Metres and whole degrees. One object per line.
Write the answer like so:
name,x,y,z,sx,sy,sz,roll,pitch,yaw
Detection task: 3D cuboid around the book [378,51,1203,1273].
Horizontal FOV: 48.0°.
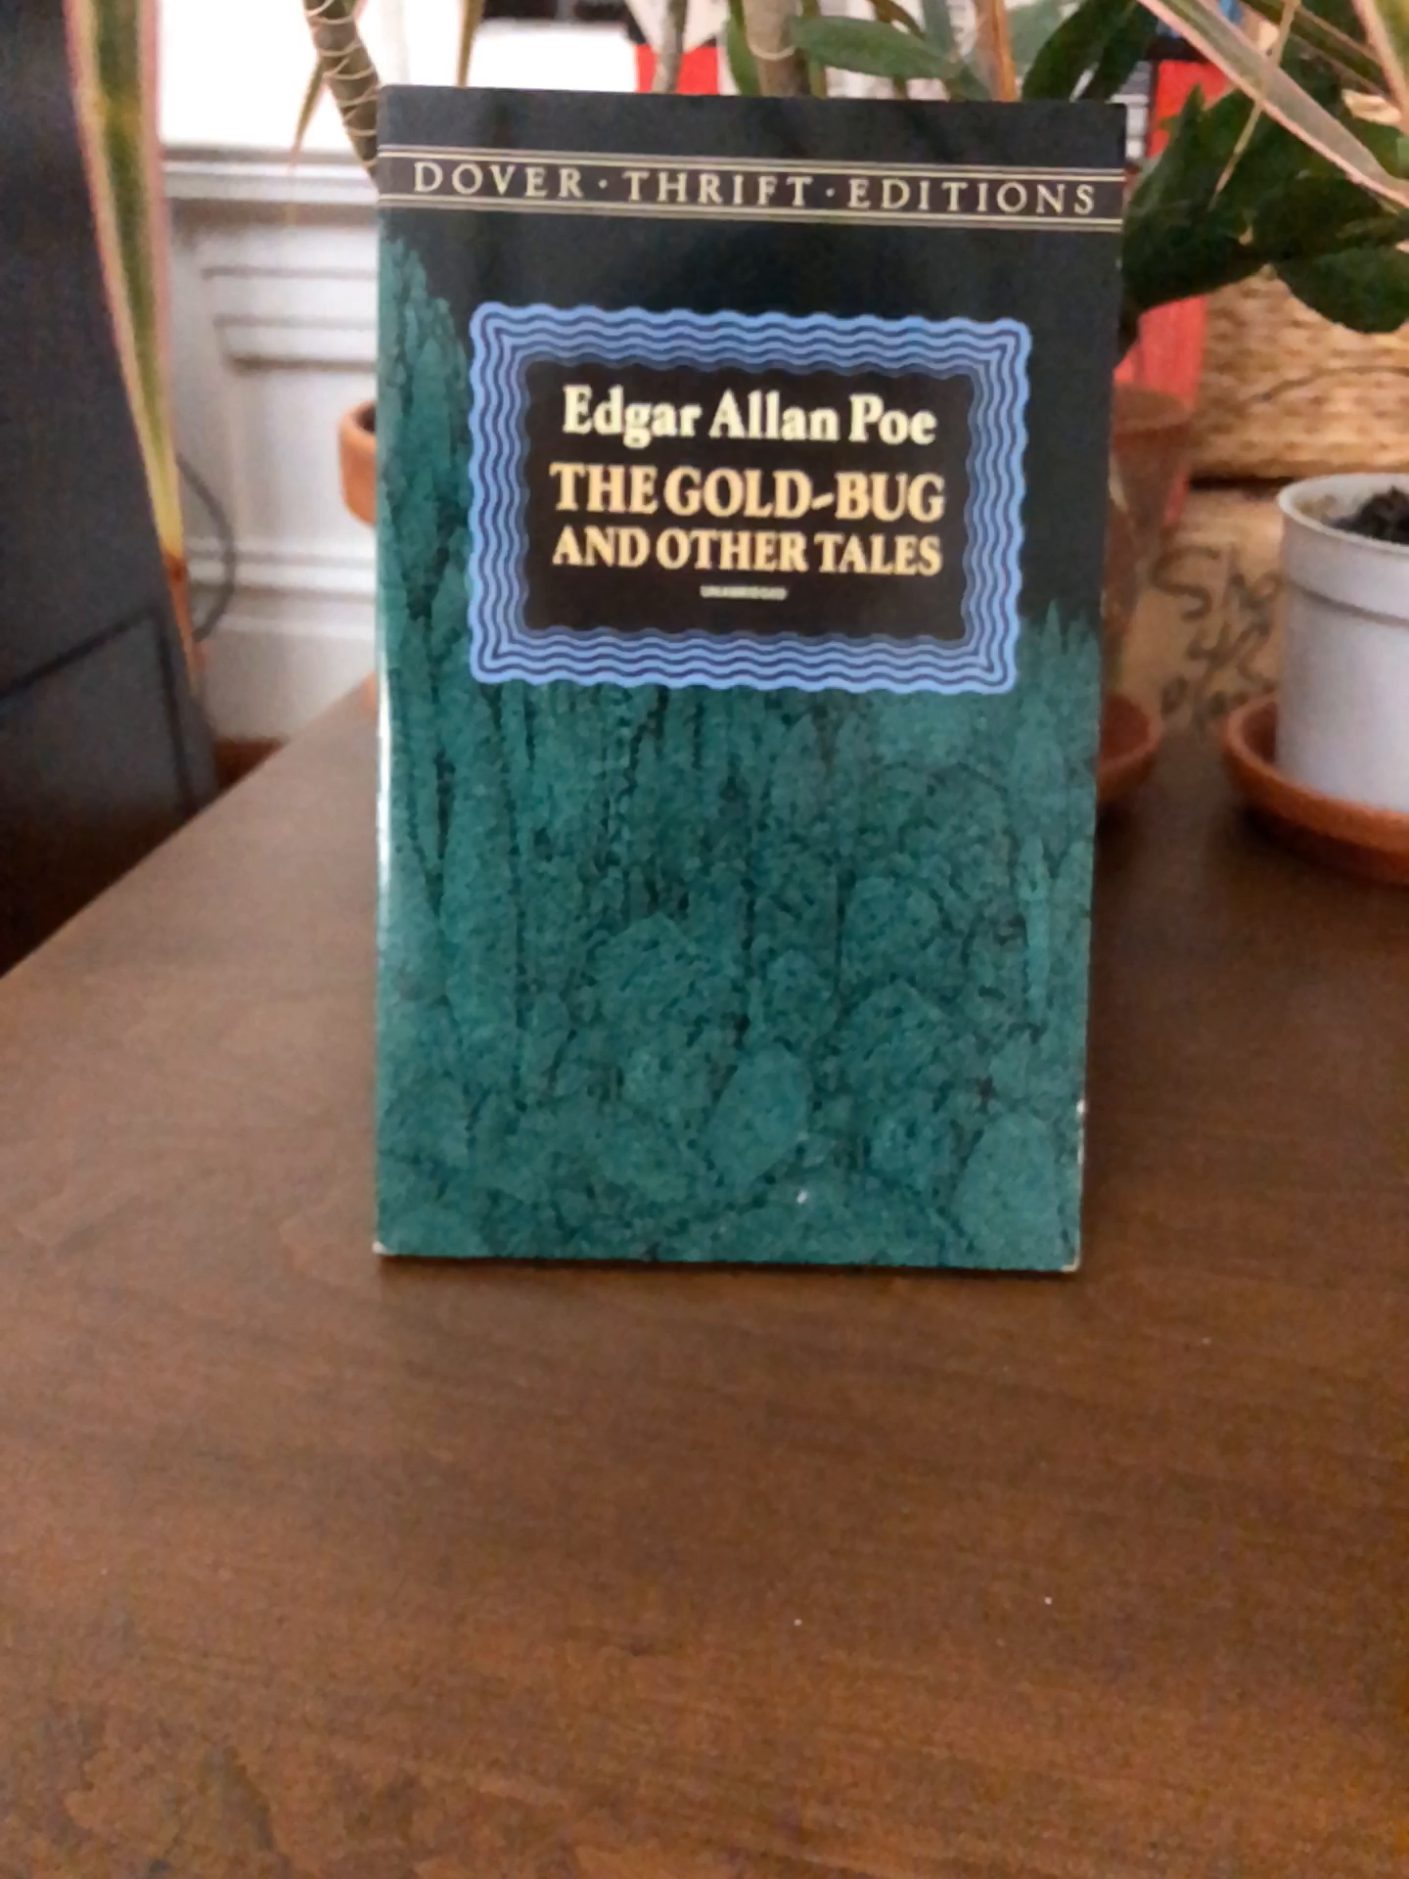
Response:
book,0.013,-0.047,0.288,0.140,0.210,0.020,1,4,0
